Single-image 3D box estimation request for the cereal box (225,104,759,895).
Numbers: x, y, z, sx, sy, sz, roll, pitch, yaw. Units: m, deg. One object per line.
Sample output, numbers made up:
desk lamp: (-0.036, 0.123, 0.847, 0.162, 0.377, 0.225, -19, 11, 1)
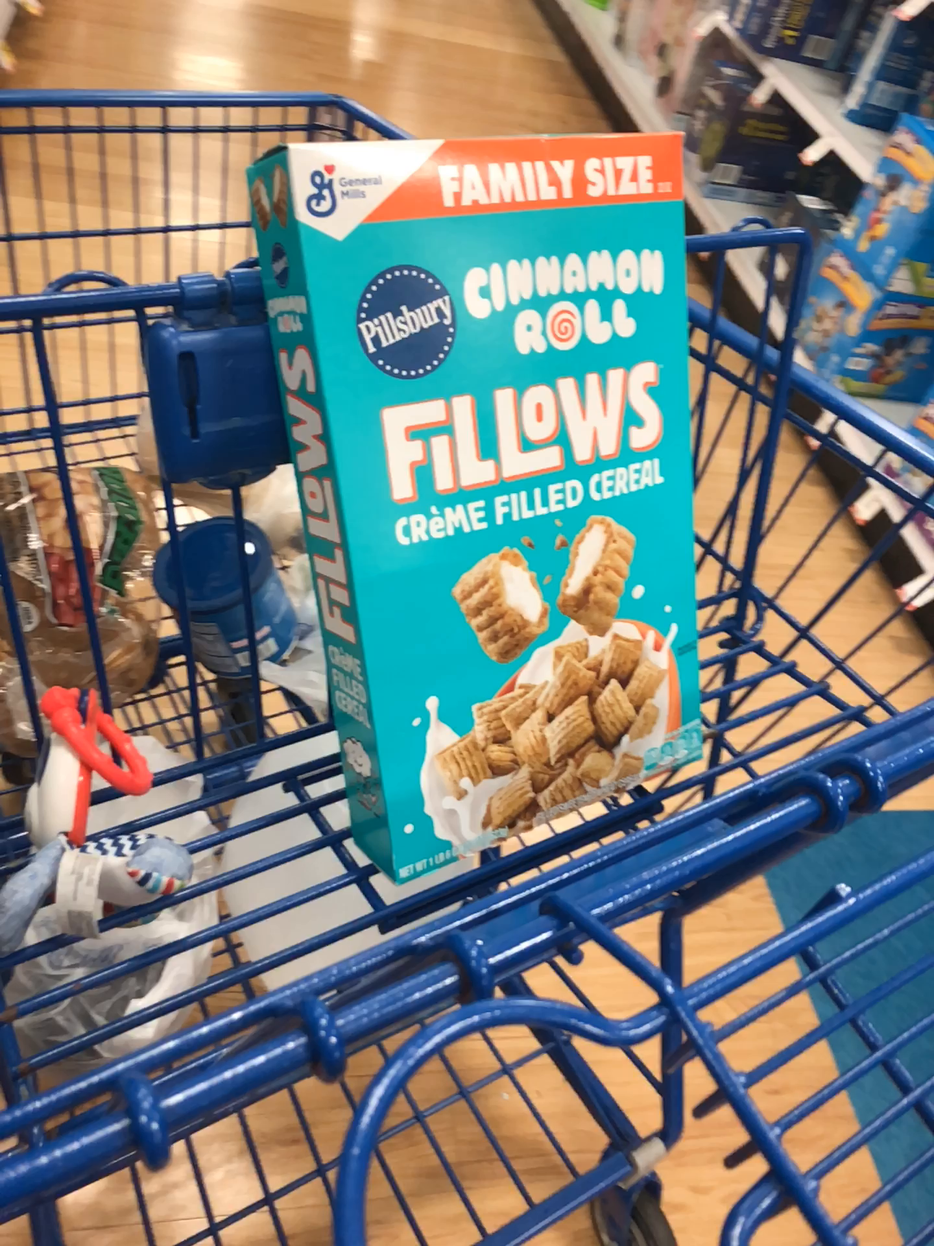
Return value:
cereal box: (0.029, -0.060, 0.451, 0.210, 0.290, 0.060, -16, 18, -31)
